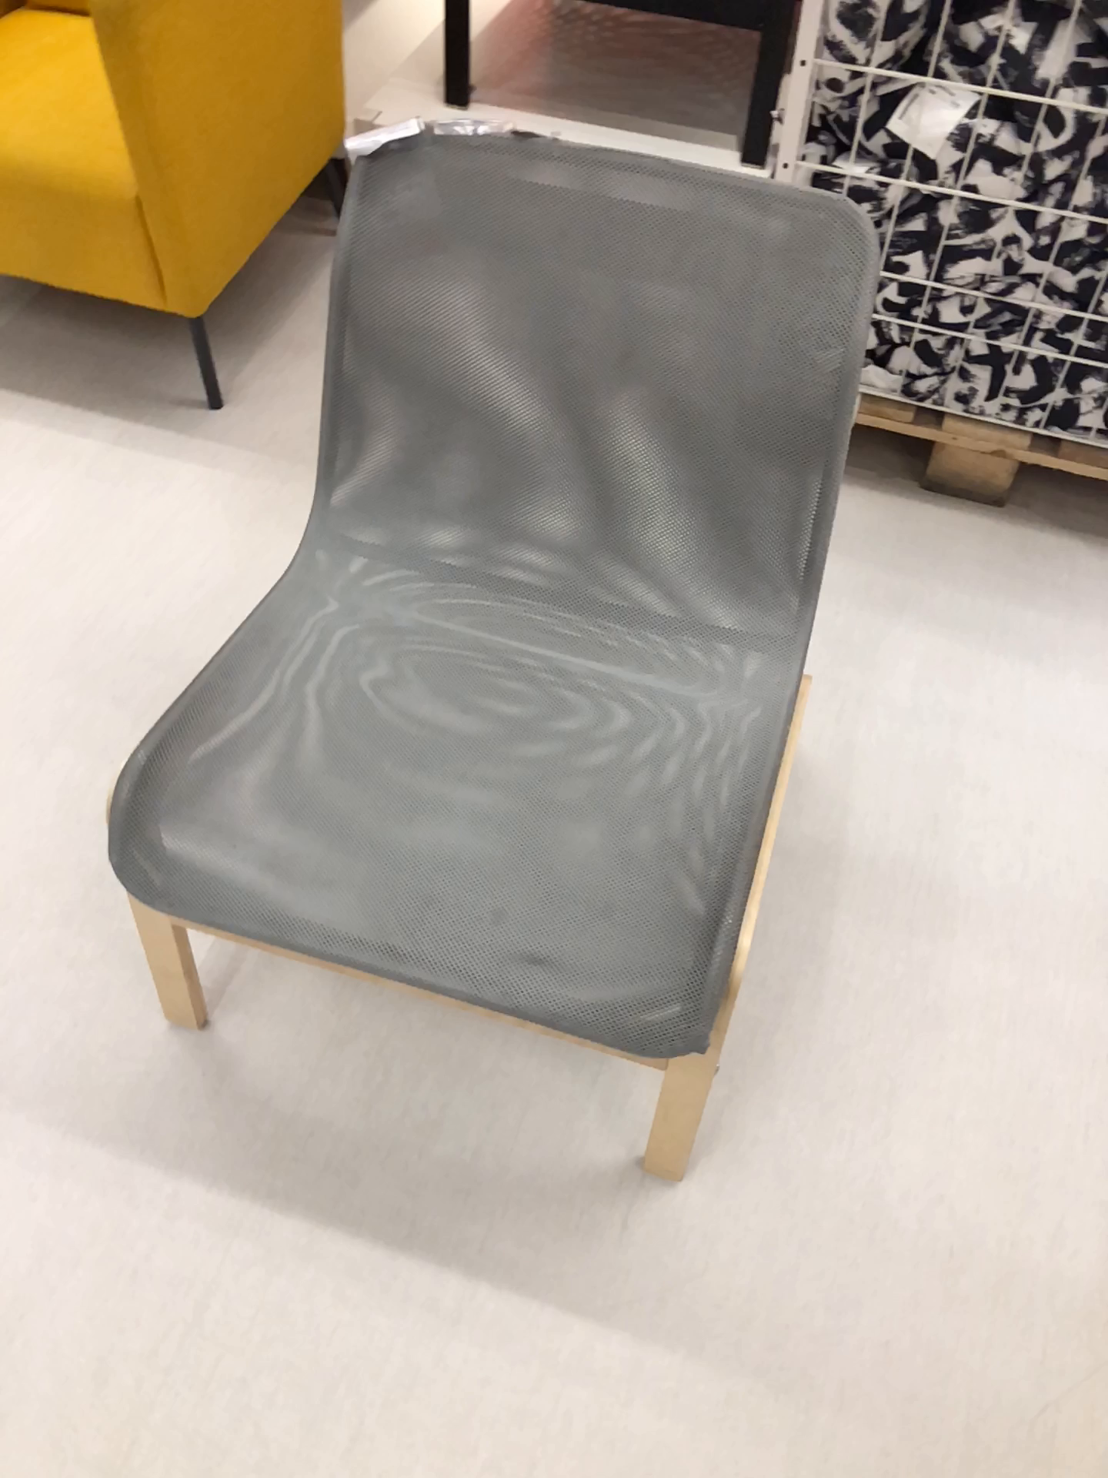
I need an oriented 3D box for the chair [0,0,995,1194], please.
[{"bbox_3d":[-0.053,-0.104,1.165,0.630,0.825,0.643,15,54,10],"label":"chair"}]
